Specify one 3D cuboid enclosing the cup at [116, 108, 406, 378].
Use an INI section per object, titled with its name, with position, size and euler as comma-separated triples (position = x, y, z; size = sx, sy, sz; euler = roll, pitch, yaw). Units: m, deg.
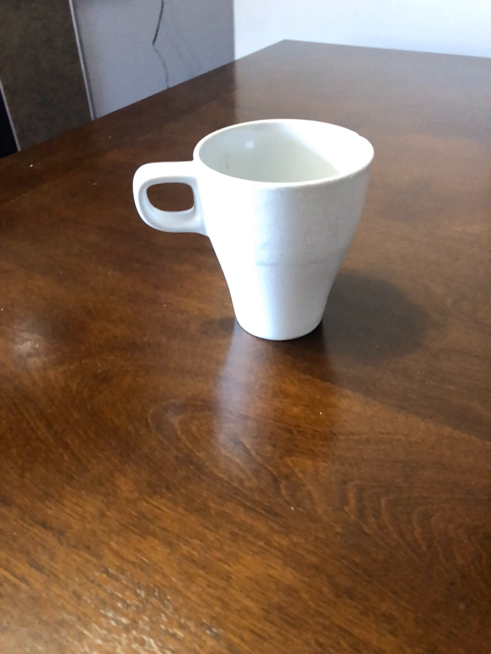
[cup]
position = 0.003, -0.047, 0.288
size = 0.120, 0.100, 0.080
euler = -10, 38, -10
